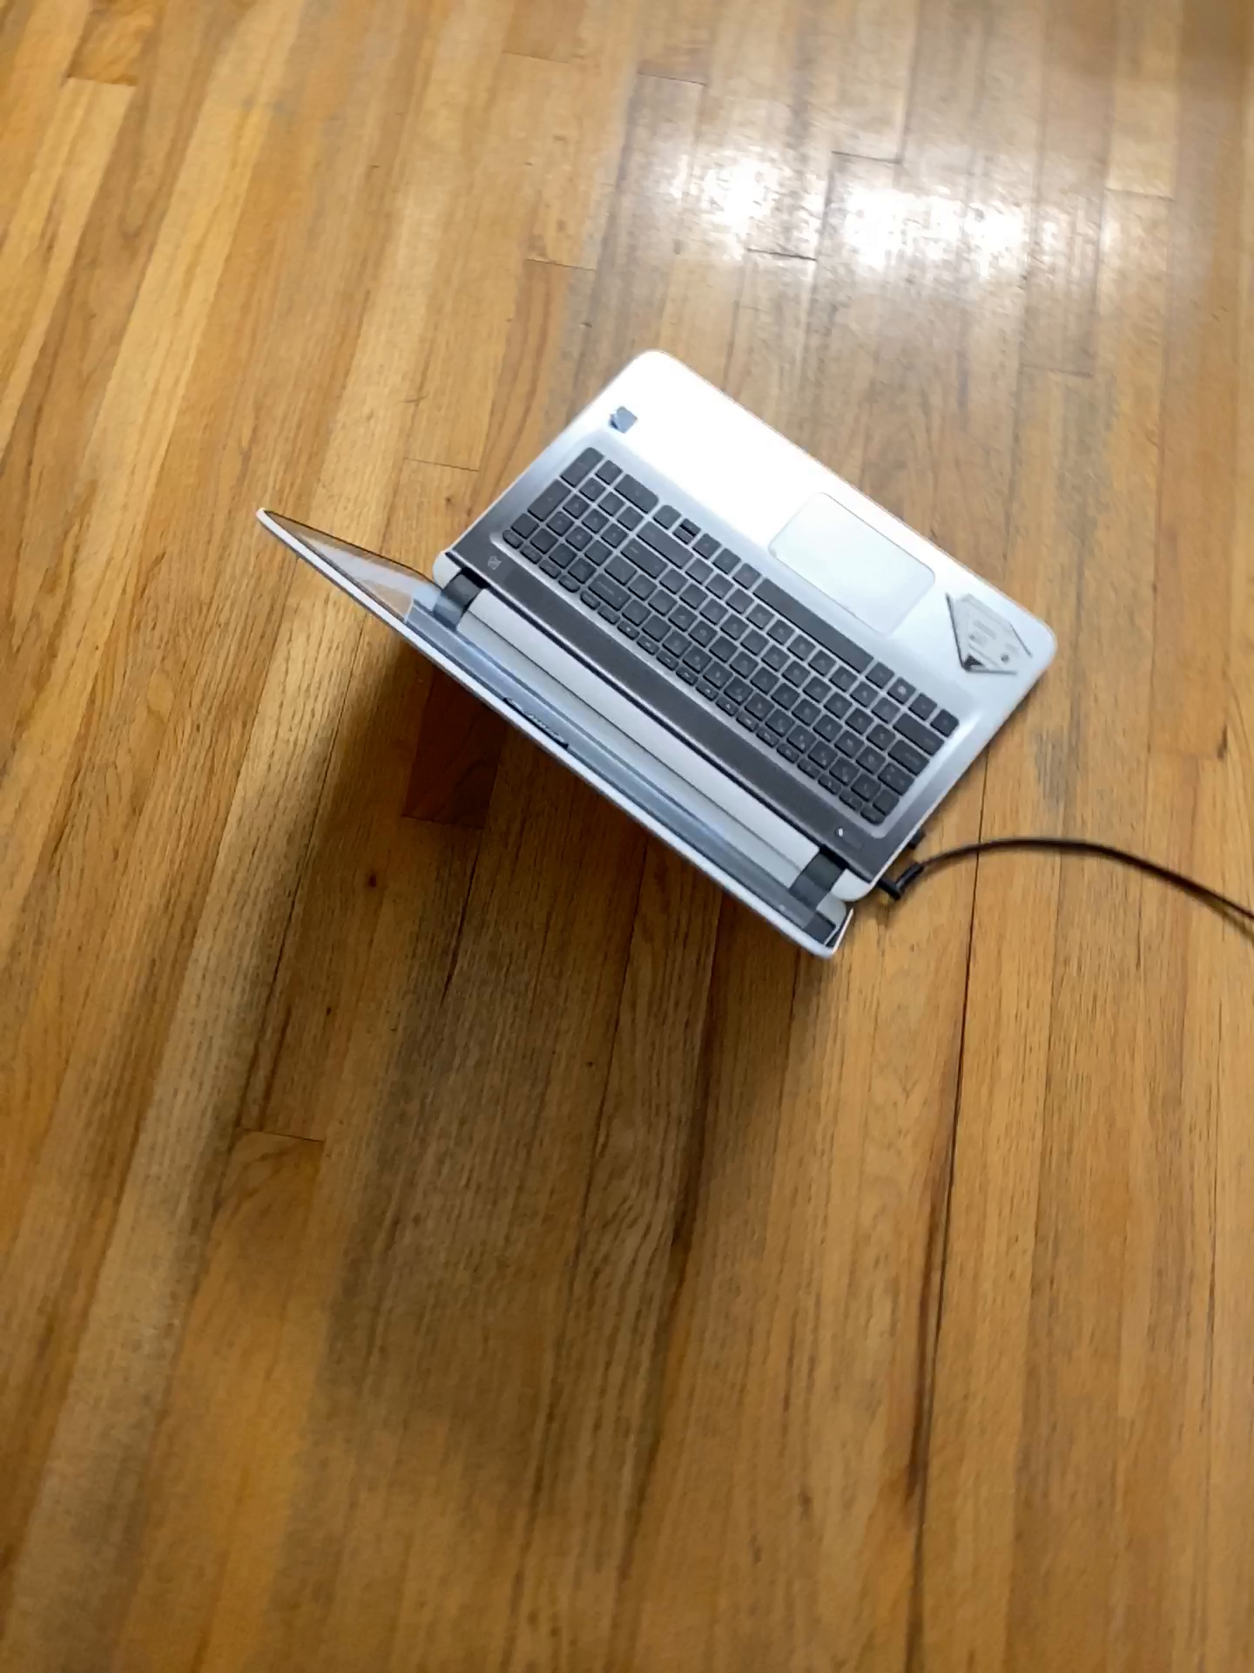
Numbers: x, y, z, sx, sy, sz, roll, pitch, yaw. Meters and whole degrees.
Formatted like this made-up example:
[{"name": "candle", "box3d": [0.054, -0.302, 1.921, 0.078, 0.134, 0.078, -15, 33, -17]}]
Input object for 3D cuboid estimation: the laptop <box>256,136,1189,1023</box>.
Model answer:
[{"name": "laptop", "box3d": [0.057, -0.155, 0.798, 0.371, 0.202, 0.363, 38, 74, 9]}]
